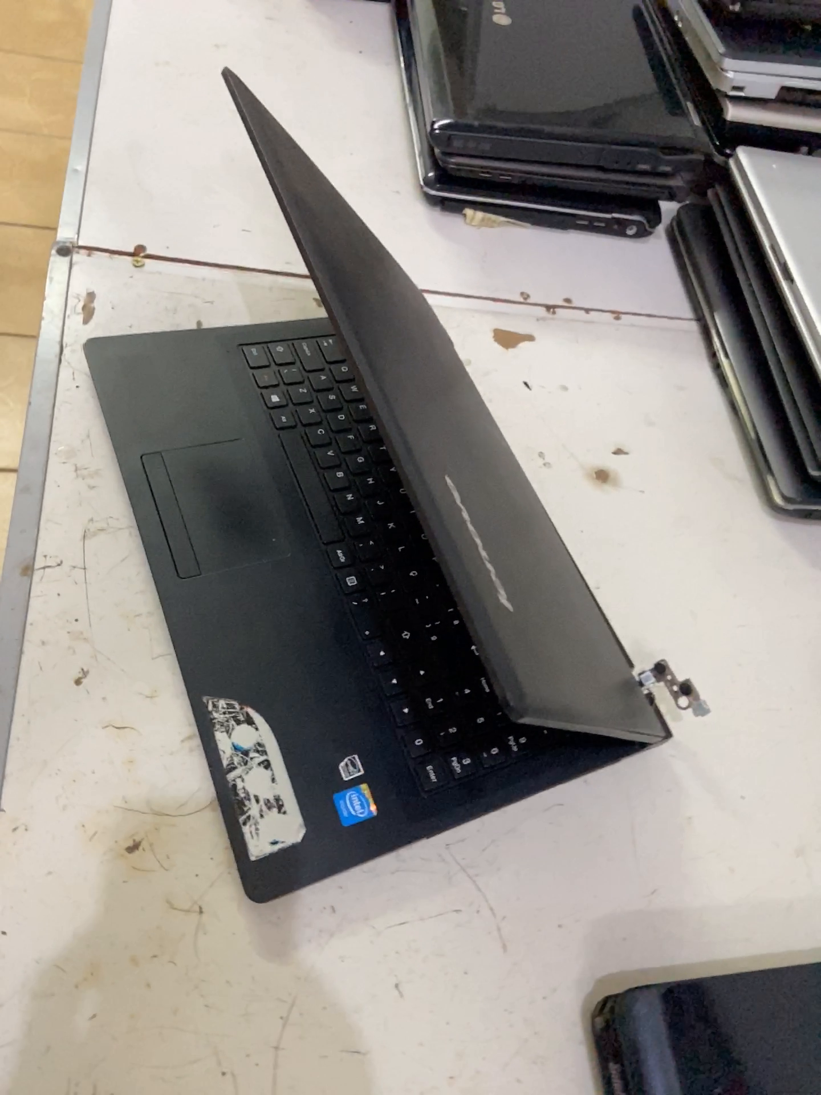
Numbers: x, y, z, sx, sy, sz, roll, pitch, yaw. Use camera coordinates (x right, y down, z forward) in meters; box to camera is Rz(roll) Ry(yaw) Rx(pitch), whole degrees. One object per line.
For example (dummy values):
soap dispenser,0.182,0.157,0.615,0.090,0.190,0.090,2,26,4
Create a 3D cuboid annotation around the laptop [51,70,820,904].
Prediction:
laptop,-0.012,-0.057,0.465,0.258,0.189,0.376,-13,63,-24
